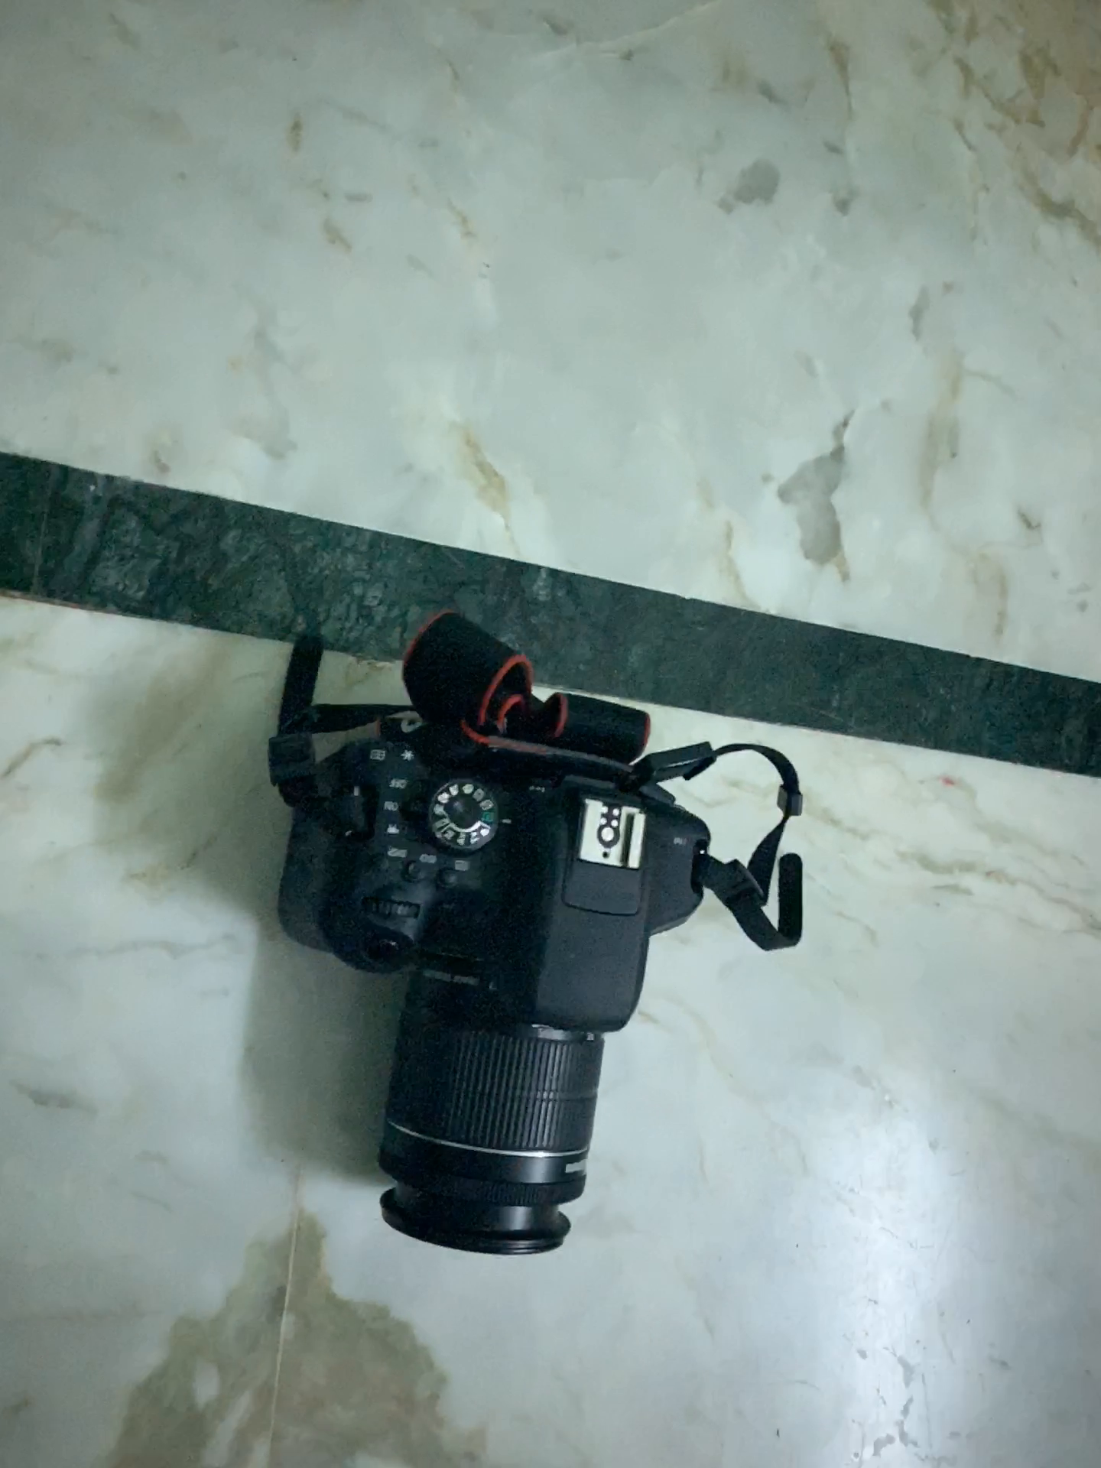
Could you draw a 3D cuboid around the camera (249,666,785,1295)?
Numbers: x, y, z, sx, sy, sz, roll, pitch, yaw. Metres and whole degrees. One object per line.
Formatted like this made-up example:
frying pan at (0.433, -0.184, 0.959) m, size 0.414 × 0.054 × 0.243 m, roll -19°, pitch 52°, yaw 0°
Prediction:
camera at (-0.012, 0.077, 0.362) m, size 0.128 × 0.100 × 0.160 m, roll 10°, pitch 78°, yaw -22°
